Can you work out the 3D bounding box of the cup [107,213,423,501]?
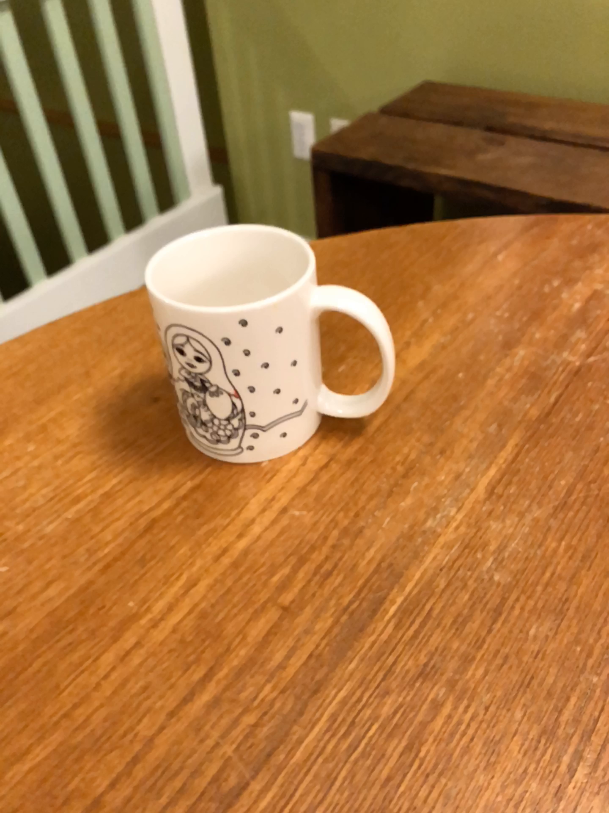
[{"bbox_3d":[-0.012,-0.029,0.353,0.126,0.099,0.088,10,43,18],"label":"cup"}]
